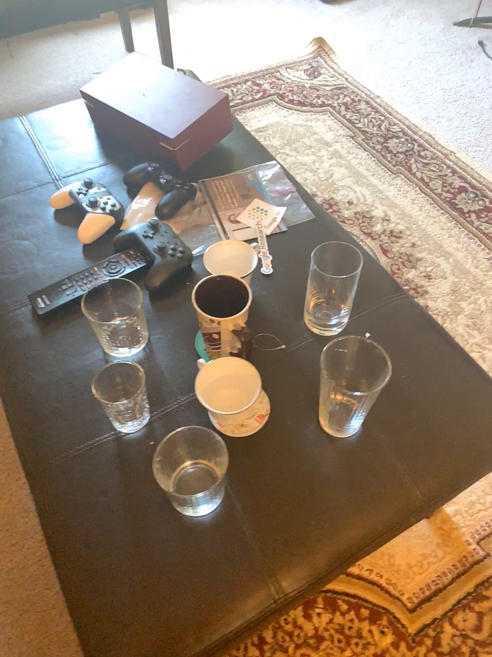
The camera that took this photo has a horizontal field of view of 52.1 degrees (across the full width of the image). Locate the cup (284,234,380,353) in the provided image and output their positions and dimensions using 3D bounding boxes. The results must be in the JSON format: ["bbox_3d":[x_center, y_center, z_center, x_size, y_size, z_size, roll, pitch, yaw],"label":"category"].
[{"bbox_3d":[0.128,-0.052,0.786,0.090,0.139,0.090,1,54,-1],"label":"cup"}]

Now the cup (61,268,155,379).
[{"bbox_3d":[-0.211,-0.007,0.782,0.090,0.120,0.090,1,54,-1],"label":"cup"}]

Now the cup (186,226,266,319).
[{"bbox_3d":[-0.032,-0.096,0.857,0.090,0.080,0.110,23,56,15],"label":"cup"}]

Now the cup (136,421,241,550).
[{"bbox_3d":[-0.070,0.202,0.645,0.090,0.120,0.090,1,54,-1],"label":"cup"}]

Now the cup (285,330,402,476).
[{"bbox_3d":[0.125,0.108,0.694,0.090,0.189,0.090,1,54,-1],"label":"cup"}]

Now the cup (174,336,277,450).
[{"bbox_3d":[-0.029,0.089,0.704,0.090,0.070,0.110,-32,61,-22],"label":"cup"}]

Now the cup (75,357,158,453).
[{"bbox_3d":[-0.178,0.108,0.704,0.070,0.100,0.070,1,54,-1],"label":"cup"}]

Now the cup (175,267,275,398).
[{"bbox_3d":[-0.033,0.006,0.766,0.090,0.120,0.130,-25,58,-18],"label":"cup"}]
